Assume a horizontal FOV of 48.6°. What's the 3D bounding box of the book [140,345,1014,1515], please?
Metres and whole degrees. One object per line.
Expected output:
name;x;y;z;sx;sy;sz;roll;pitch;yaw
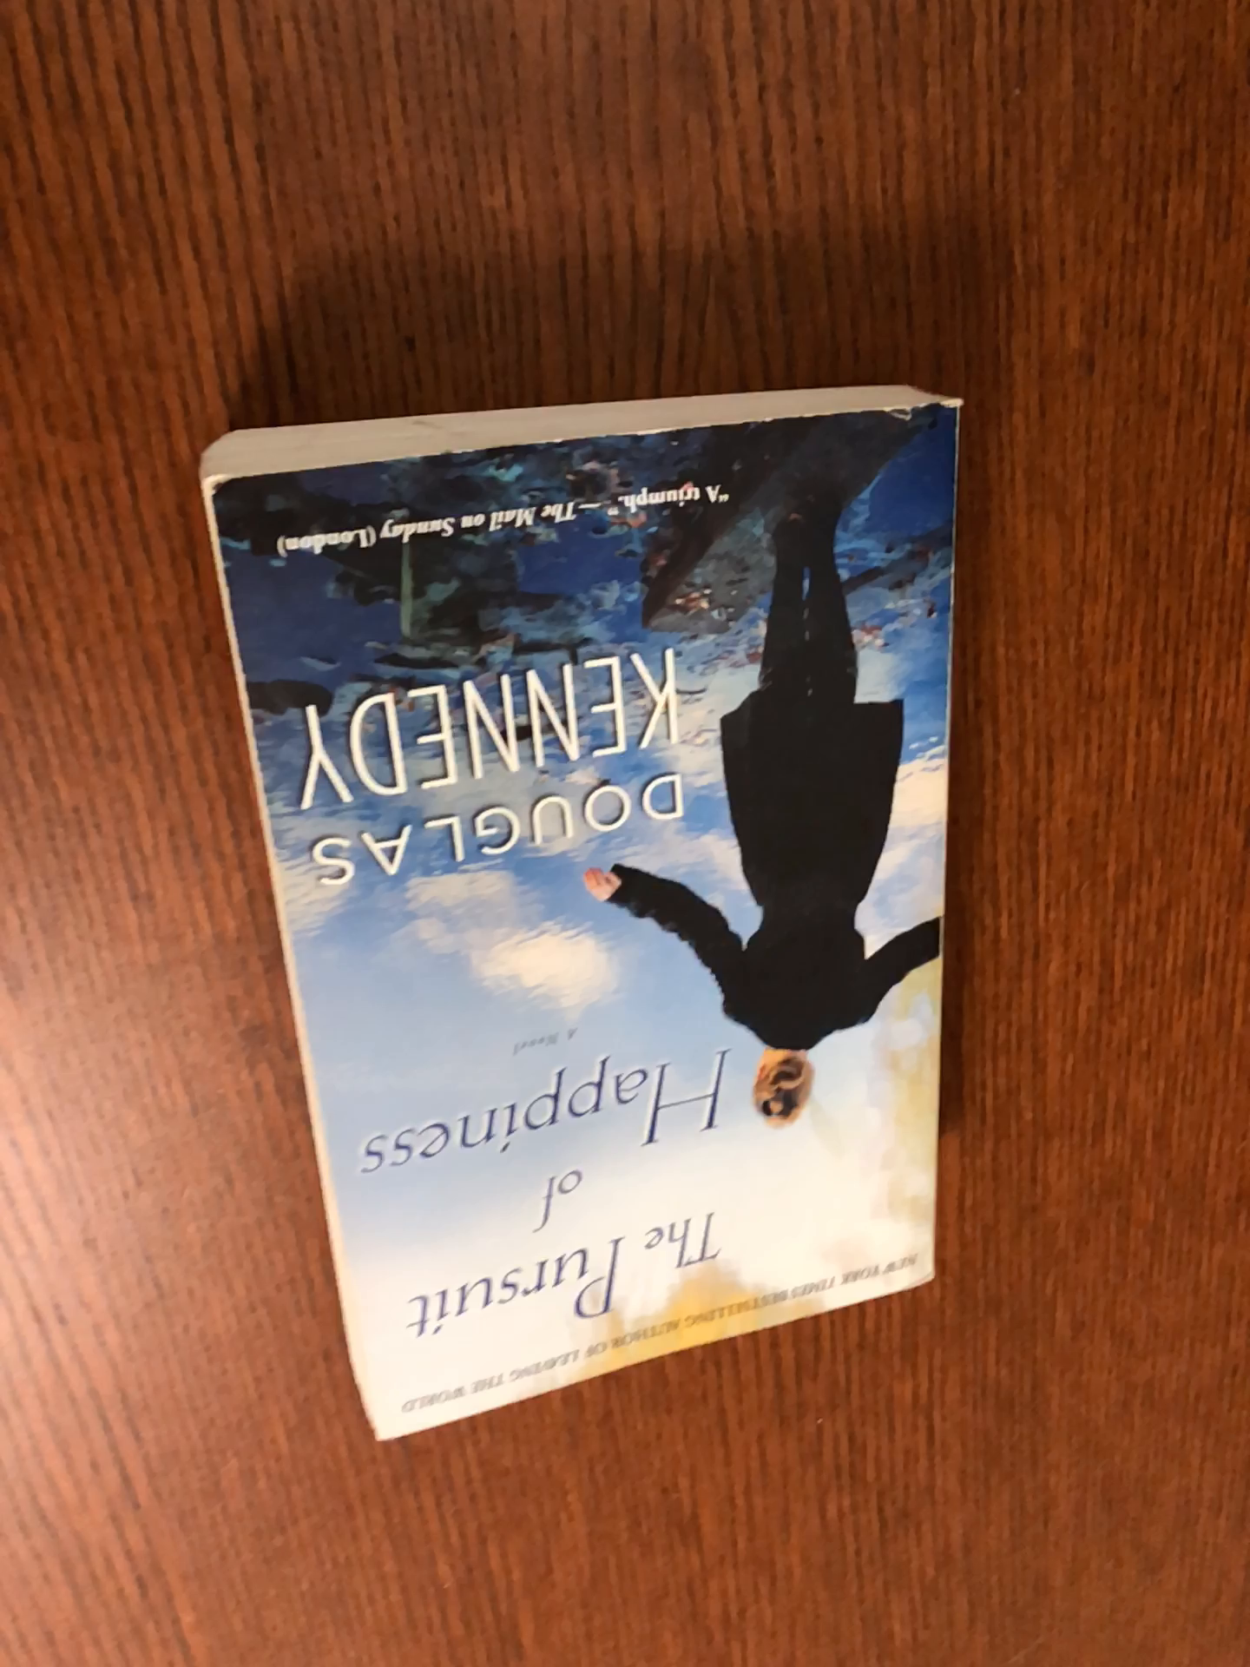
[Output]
book;-0.002;0.023;0.312;0.160;0.050;0.240;-9;112;-14
